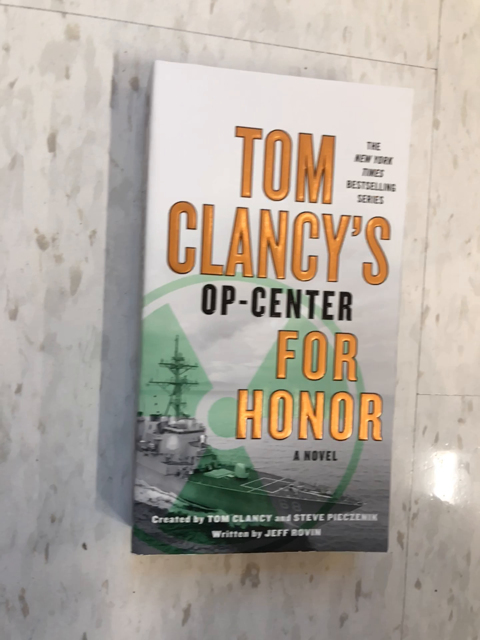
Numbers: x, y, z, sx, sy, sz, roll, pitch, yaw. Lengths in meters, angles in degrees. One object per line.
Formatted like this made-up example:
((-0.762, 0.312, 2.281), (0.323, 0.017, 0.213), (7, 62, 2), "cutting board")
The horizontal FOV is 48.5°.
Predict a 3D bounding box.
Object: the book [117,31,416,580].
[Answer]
((0.008, -0.003, 0.229), (0.110, 0.050, 0.200), (2, 91, -11), "book")
